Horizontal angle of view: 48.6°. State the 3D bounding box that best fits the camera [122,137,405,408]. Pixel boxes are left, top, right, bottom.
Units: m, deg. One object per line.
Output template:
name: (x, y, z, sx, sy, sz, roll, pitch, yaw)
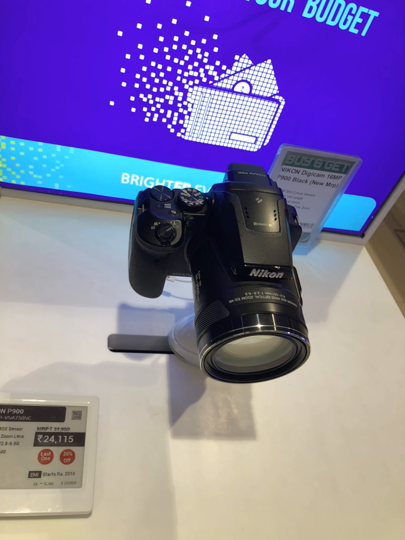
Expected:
camera: (0.026, 0.004, 0.303, 0.140, 0.099, 0.141, 6, 45, -18)
